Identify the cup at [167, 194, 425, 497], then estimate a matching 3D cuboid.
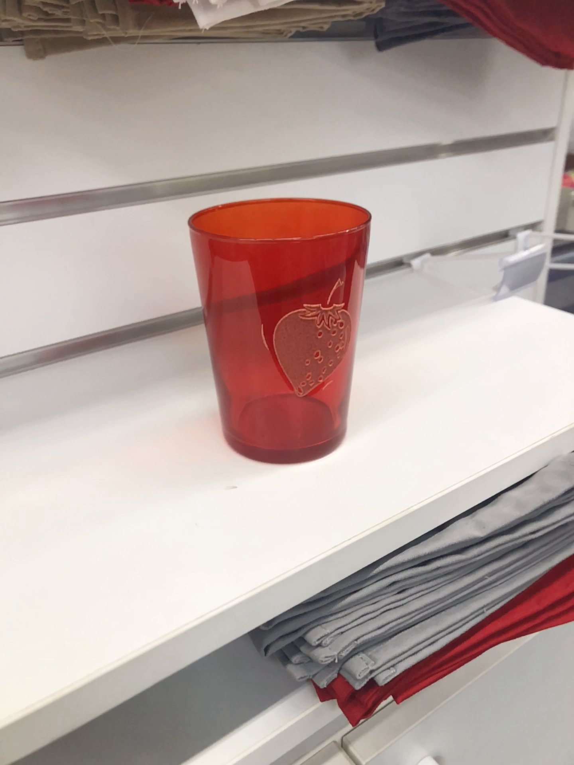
[{"bbox_3d":[0.004,-0.027,0.342,0.092,0.121,0.091,-1,26,1],"label":"cup"}]
